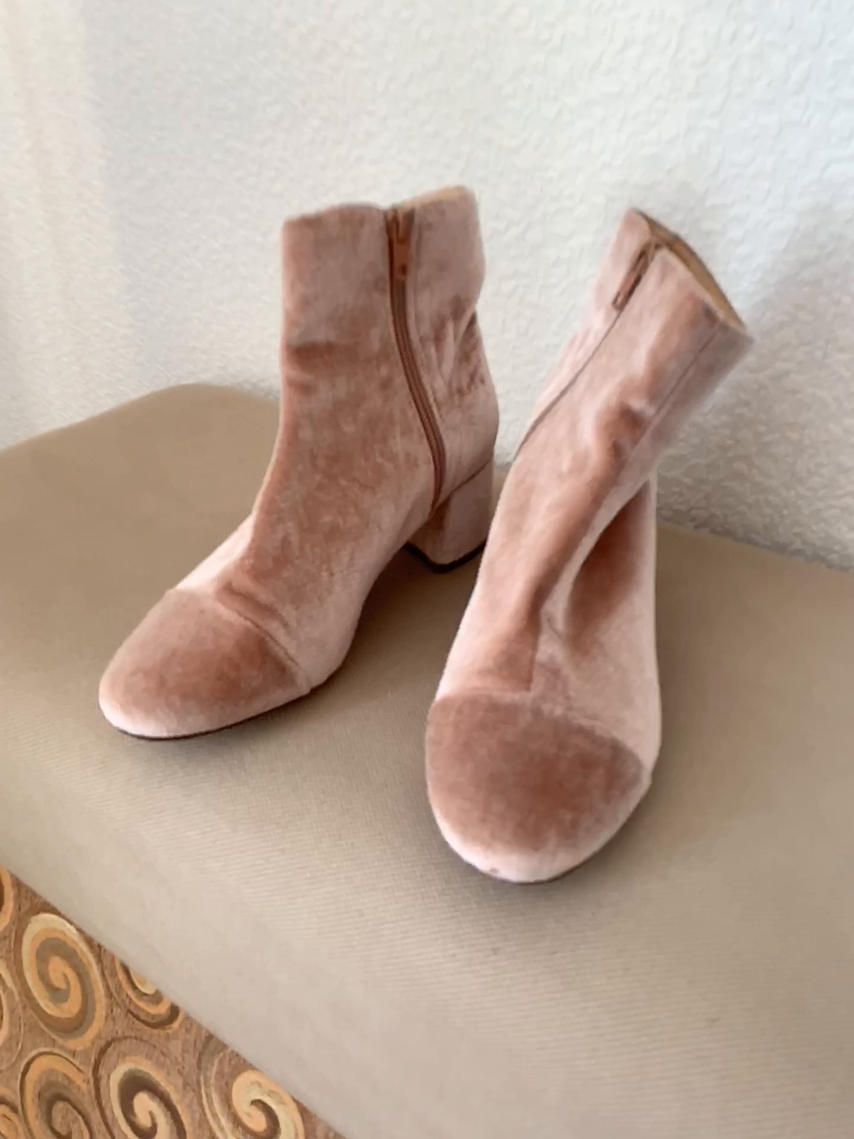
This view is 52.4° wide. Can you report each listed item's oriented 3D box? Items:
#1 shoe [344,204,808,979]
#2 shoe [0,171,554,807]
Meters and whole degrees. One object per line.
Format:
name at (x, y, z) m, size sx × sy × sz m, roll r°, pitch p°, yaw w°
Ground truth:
shoe at (0.066, -0.024, 0.342) m, size 0.100 × 0.169 × 0.271 m, roll 9°, pitch 35°, yaw 13°
shoe at (-0.055, -0.054, 0.365) m, size 0.100 × 0.169 × 0.231 m, roll 22°, pitch 39°, yaw 29°
